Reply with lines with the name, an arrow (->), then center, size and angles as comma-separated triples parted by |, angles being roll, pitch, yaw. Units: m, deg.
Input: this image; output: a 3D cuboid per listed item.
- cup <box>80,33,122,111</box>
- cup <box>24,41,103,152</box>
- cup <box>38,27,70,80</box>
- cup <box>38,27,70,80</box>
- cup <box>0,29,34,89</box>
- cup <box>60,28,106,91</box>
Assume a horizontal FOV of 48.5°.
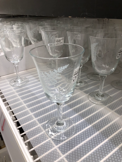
cup -> 0.112, -0.027, 0.329 | 0.089, 0.155, 0.087 | -1, 27, 1
cup -> 0.001, 0.020, 0.241 | 0.086, 0.156, 0.090 | -1, 27, 1
cup -> -0.019, -0.091, 0.435 | 0.069, 0.146, 0.066 | -1, 27, 1
cup -> -0.019, -0.091, 0.435 | 0.069, 0.146, 0.066 | -1, 27, 1
cup -> -0.126, -0.065, 0.399 | 0.069, 0.156, 0.067 | -1, 27, 1
cup -> 0.058, -0.065, 0.382 | 0.086, 0.146, 0.080 | -1, 27, 1
